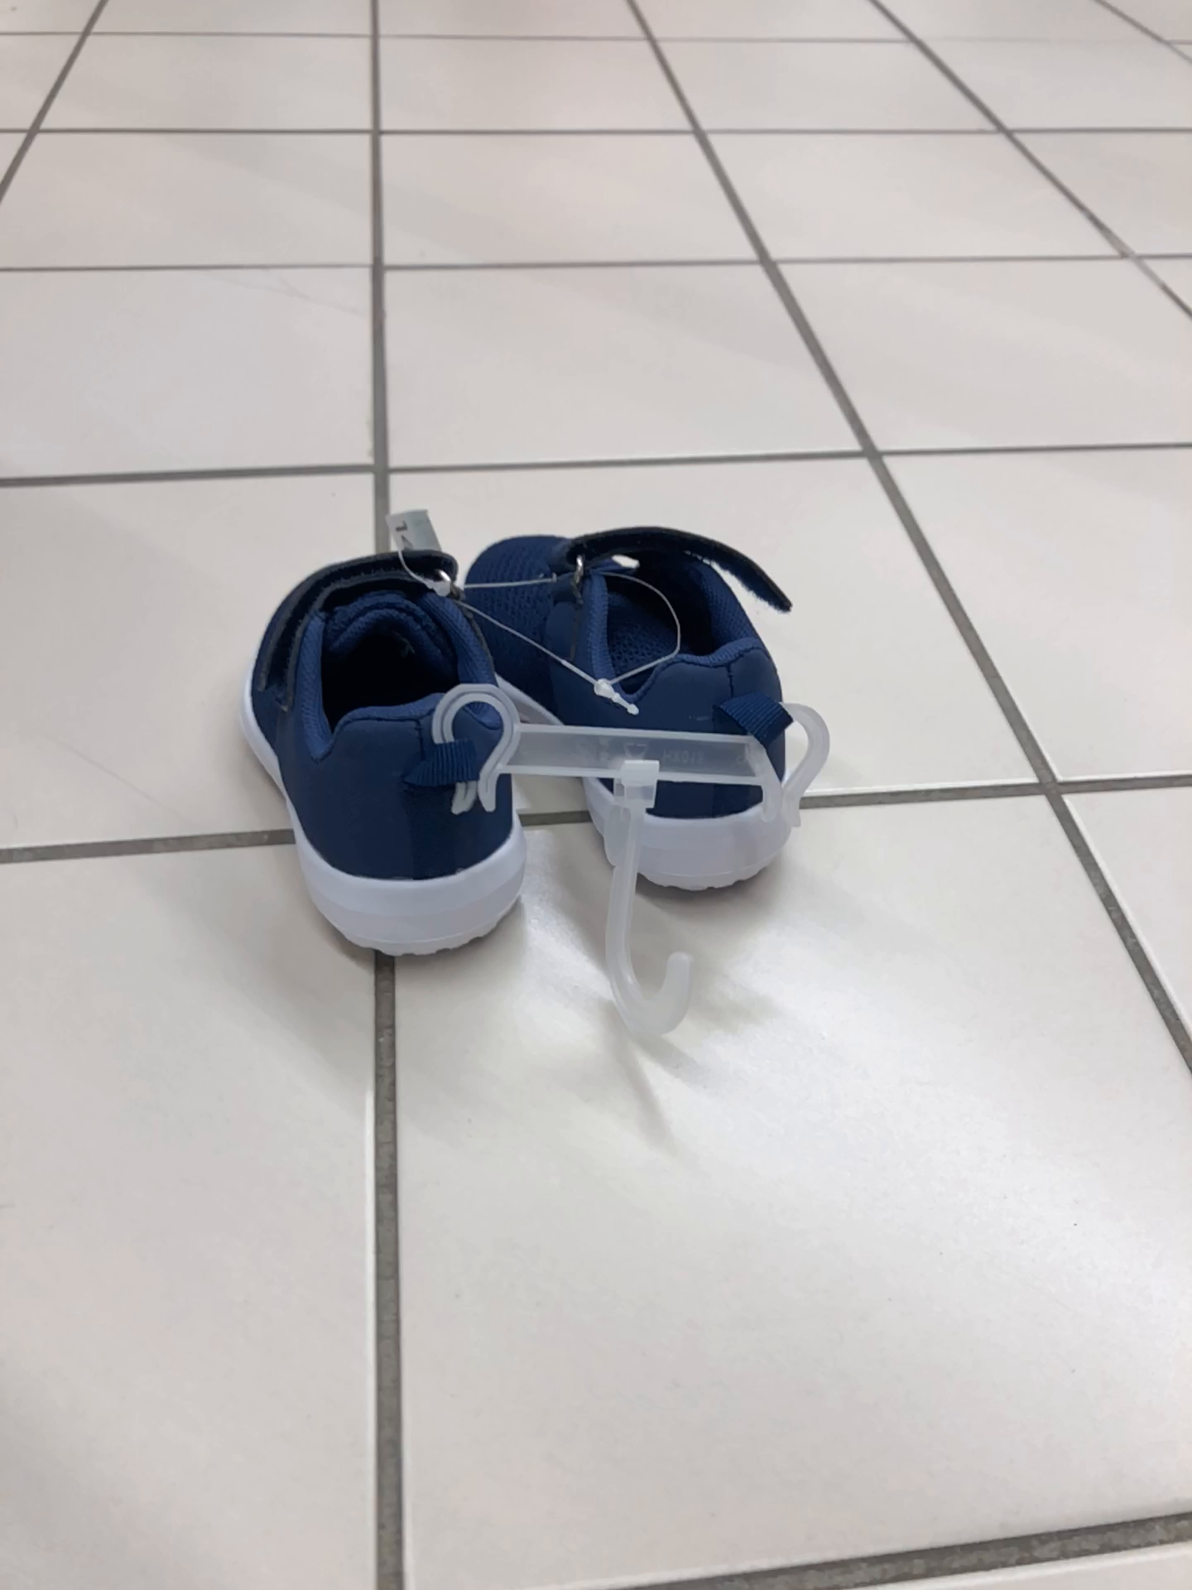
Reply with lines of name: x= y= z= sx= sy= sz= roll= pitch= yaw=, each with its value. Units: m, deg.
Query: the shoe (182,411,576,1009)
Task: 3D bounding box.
shoe: x=-0.065 y=-0.033 z=0.371 sx=0.081 sy=0.073 sz=0.160 roll=-9 pitch=44 yaw=-12

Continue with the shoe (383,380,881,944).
shoe: x=0.002 y=-0.048 z=0.392 sx=0.075 sy=0.076 sz=0.158 roll=-17 pitch=47 yaw=-20
